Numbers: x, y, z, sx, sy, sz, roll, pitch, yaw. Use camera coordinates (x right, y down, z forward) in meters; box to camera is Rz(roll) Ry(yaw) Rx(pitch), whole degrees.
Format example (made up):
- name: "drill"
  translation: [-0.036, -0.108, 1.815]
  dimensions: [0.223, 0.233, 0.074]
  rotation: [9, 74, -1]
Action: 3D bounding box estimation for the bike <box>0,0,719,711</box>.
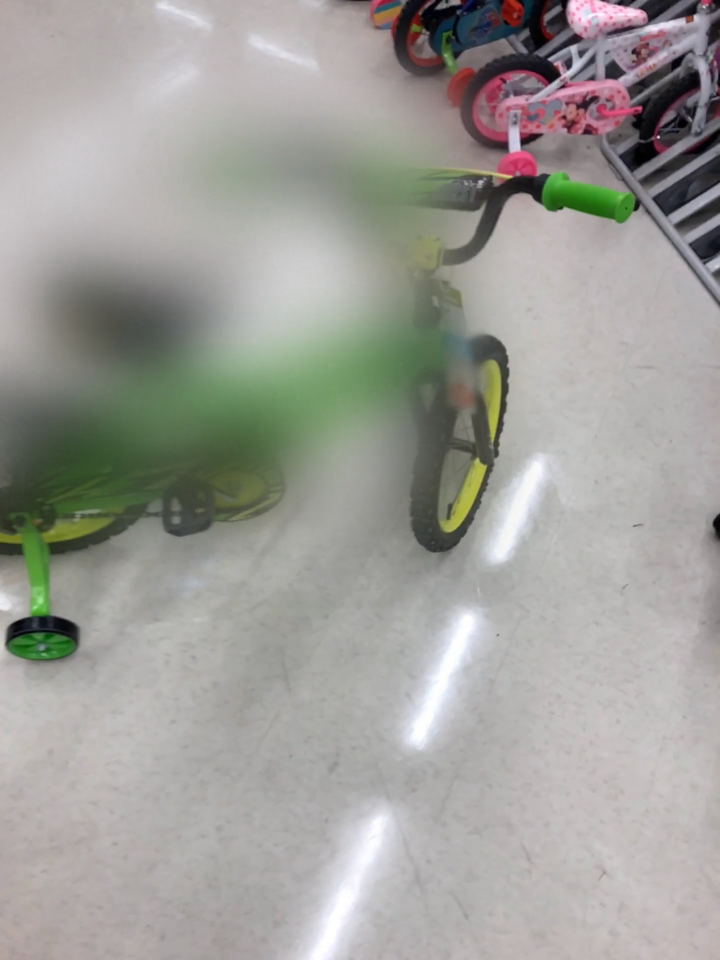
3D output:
- name: "bike"
  translation: [-0.178, -0.264, 1.128]
  dimensions: [1.044, 0.807, 0.554]
  rotation: [-14, 59, -13]
